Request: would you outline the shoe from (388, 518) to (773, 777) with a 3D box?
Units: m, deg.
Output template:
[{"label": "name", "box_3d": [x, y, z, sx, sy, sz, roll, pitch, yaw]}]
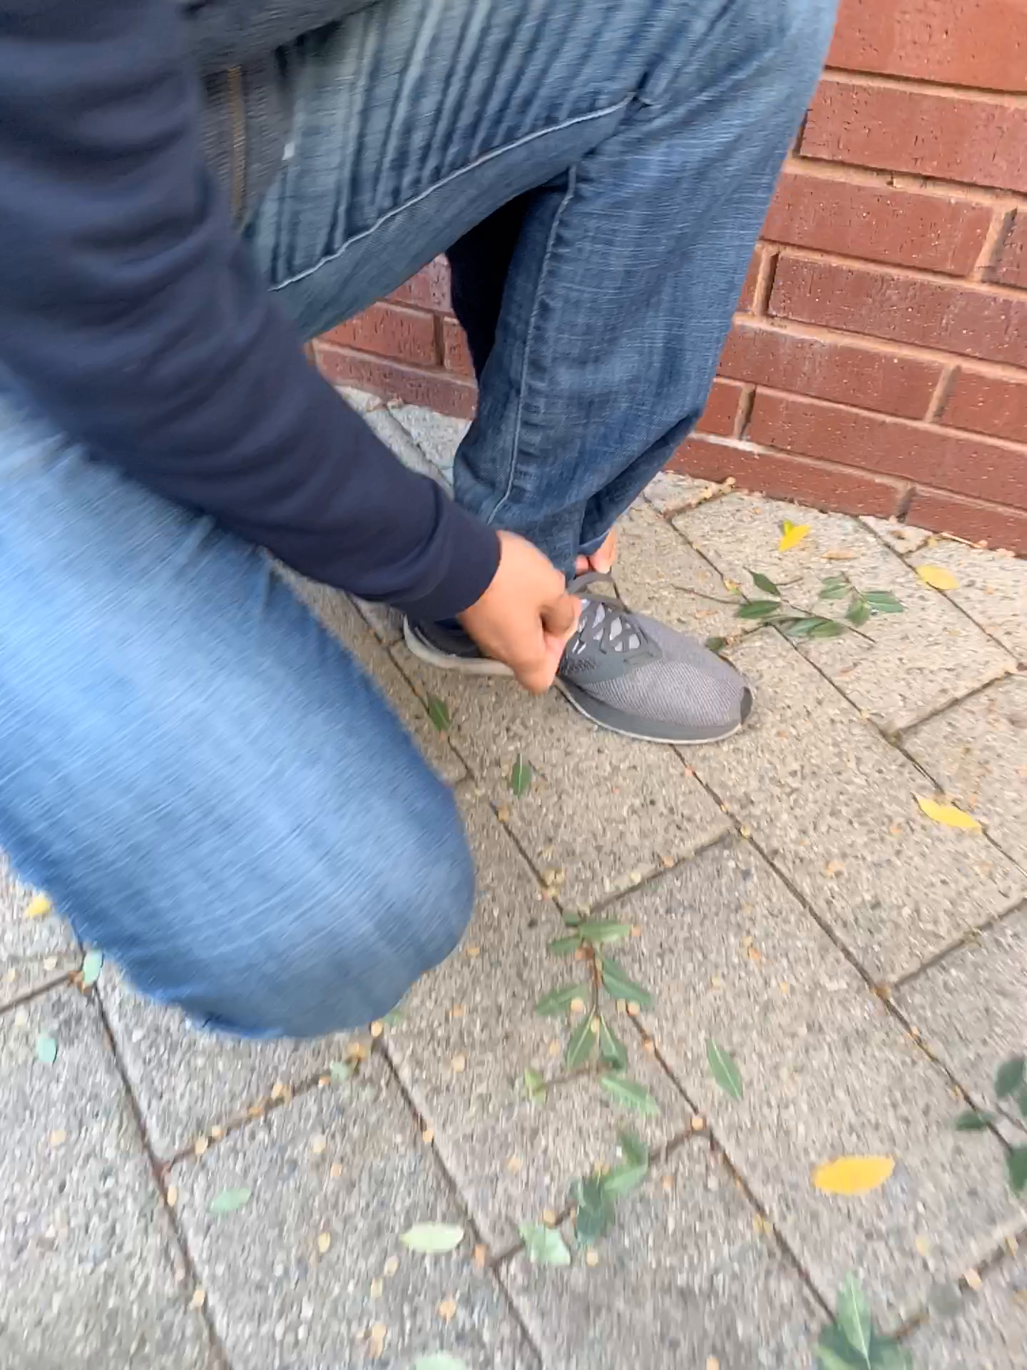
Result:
[{"label": "shoe", "box_3d": [0.052, -0.035, 0.853, 0.280, 0.083, 0.111, 17, 52, 15]}]

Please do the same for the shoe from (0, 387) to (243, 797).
[{"label": "shoe", "box_3d": [-0.309, -0.071, 0.809, 0.115, 0.274, 0.099, -19, 11, -13]}]
